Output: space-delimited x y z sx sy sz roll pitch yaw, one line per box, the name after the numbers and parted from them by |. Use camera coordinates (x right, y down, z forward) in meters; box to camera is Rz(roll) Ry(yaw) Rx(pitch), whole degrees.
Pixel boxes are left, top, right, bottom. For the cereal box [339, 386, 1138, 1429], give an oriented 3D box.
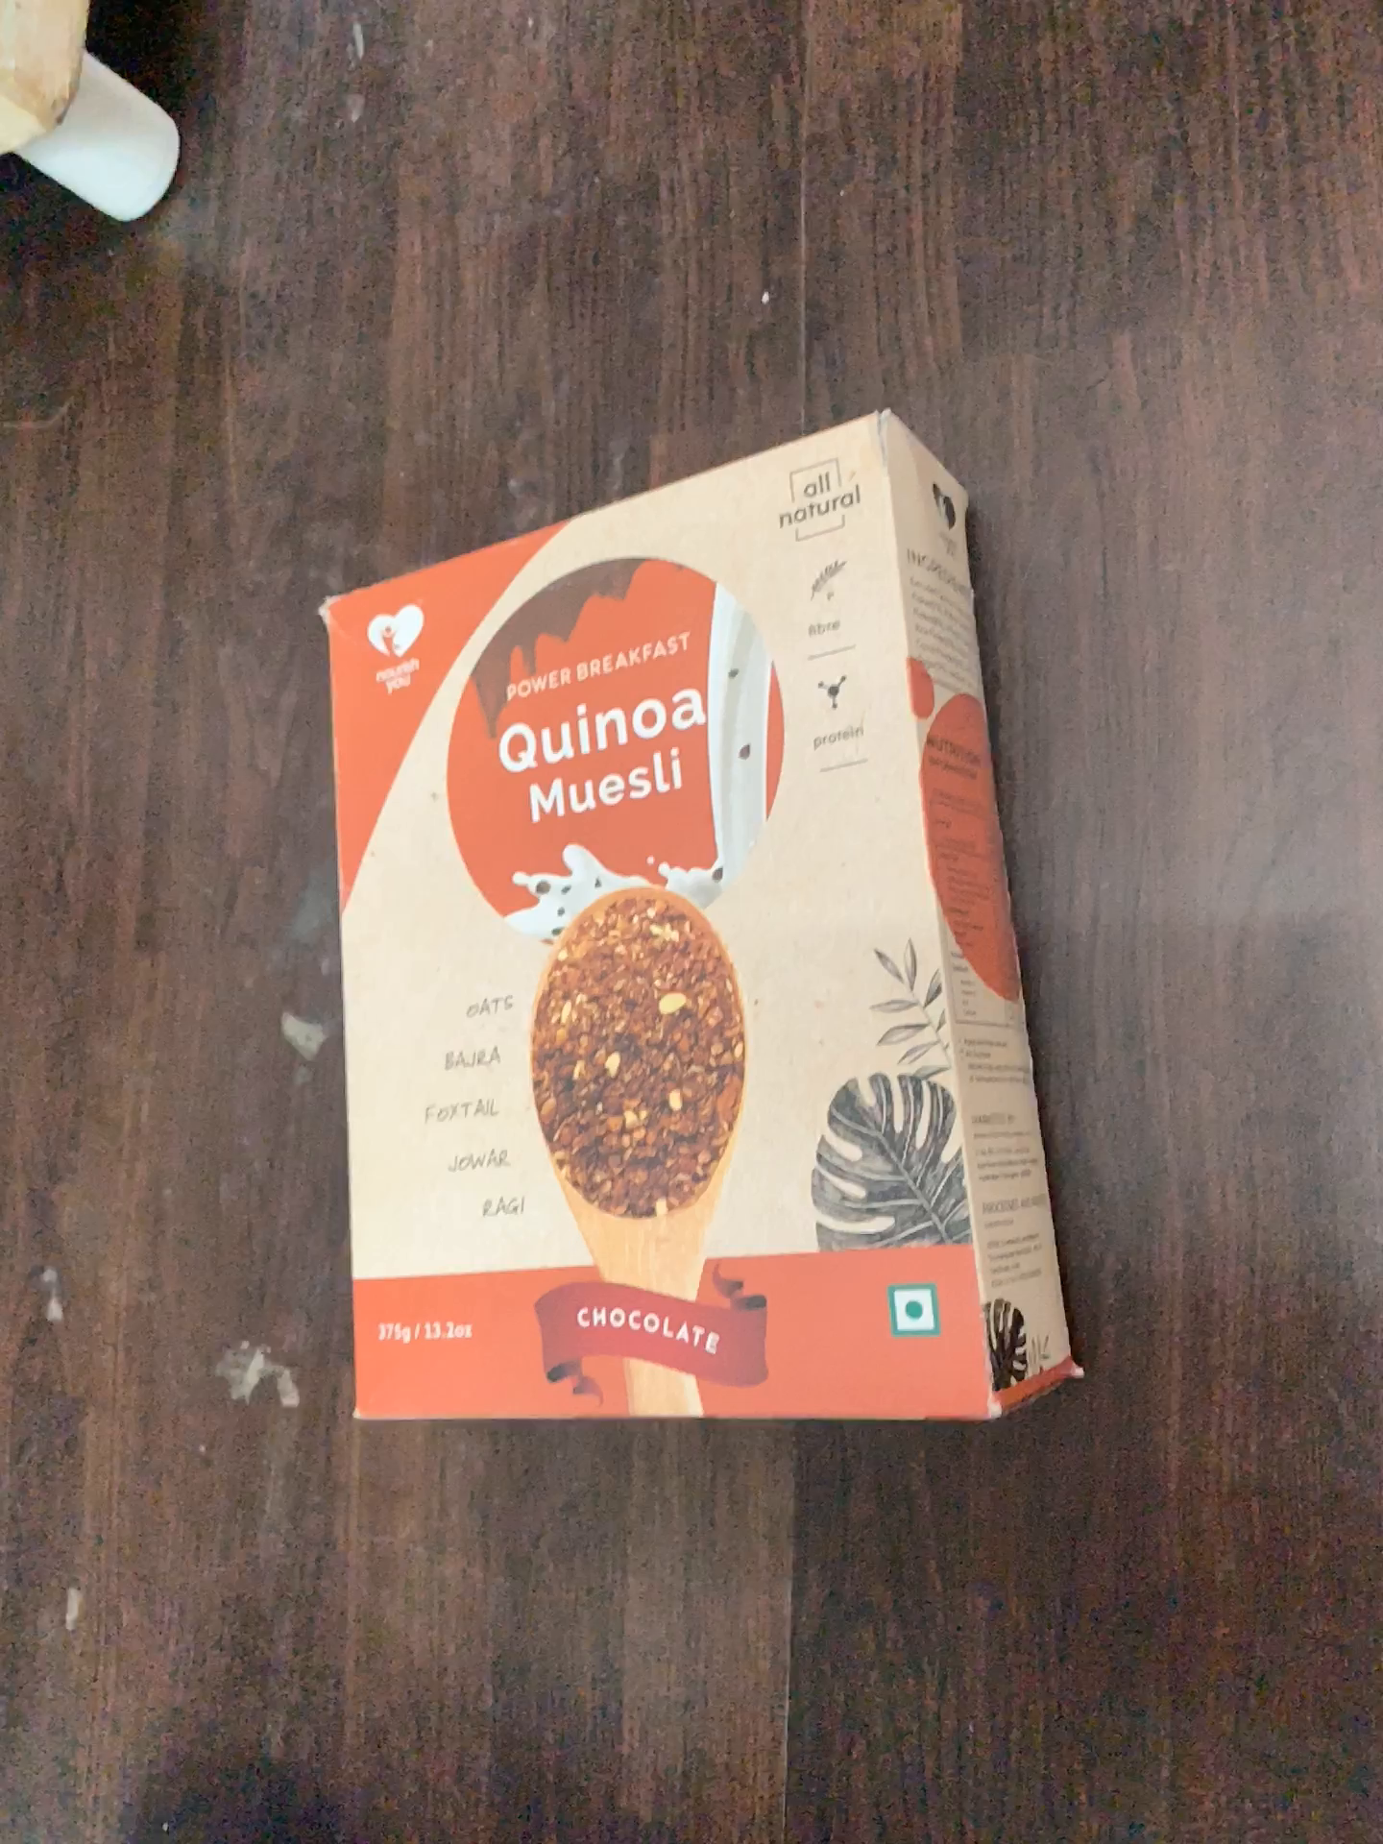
0.003 0.007 0.351 0.171 0.070 0.210 -10 77 28 | cereal box
